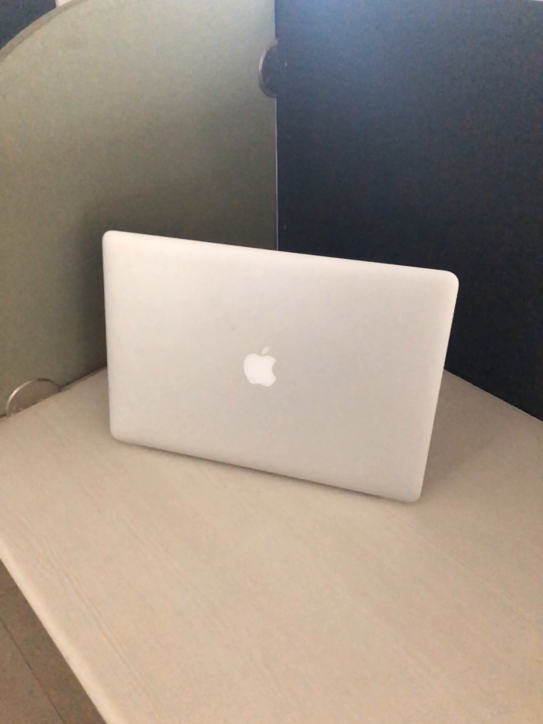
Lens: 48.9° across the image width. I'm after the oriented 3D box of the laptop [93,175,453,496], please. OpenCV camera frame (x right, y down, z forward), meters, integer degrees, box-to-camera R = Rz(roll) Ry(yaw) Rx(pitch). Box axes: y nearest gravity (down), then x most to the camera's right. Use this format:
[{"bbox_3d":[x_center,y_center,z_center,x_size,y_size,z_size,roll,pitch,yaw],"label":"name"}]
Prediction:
[{"bbox_3d":[0.020,-0.048,0.696,0.321,0.232,0.245,10,38,14],"label":"laptop"}]
